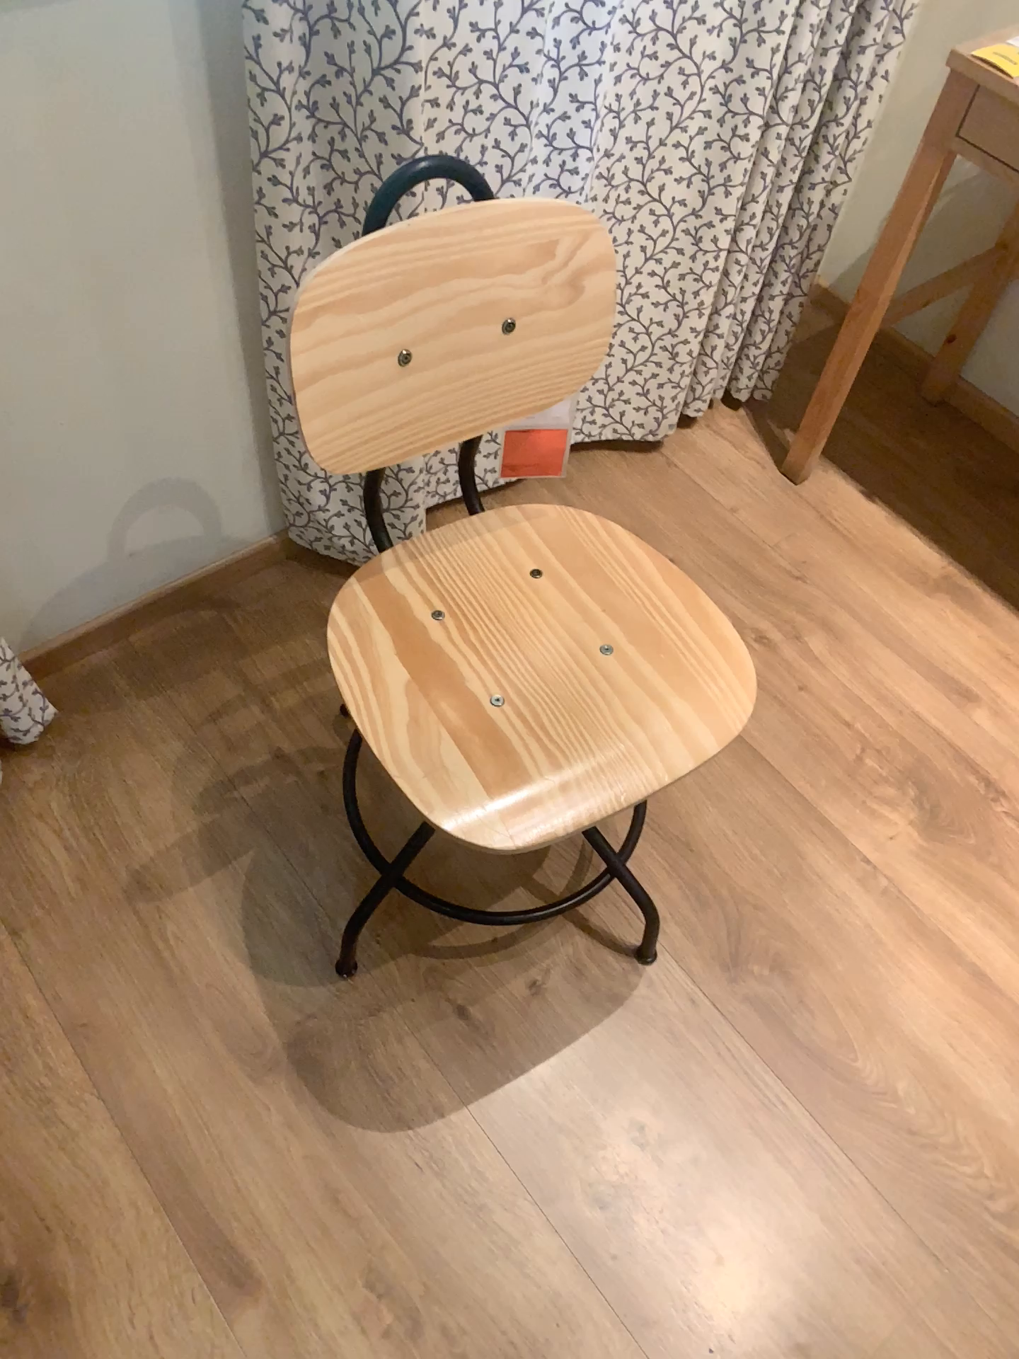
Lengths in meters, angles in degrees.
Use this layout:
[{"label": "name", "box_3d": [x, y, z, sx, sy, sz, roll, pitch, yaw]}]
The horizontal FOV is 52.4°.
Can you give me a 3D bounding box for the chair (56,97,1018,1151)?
[{"label": "chair", "box_3d": [0.020, -0.045, 1.019, 0.561, 0.648, 0.621, -24, 61, -21]}]
